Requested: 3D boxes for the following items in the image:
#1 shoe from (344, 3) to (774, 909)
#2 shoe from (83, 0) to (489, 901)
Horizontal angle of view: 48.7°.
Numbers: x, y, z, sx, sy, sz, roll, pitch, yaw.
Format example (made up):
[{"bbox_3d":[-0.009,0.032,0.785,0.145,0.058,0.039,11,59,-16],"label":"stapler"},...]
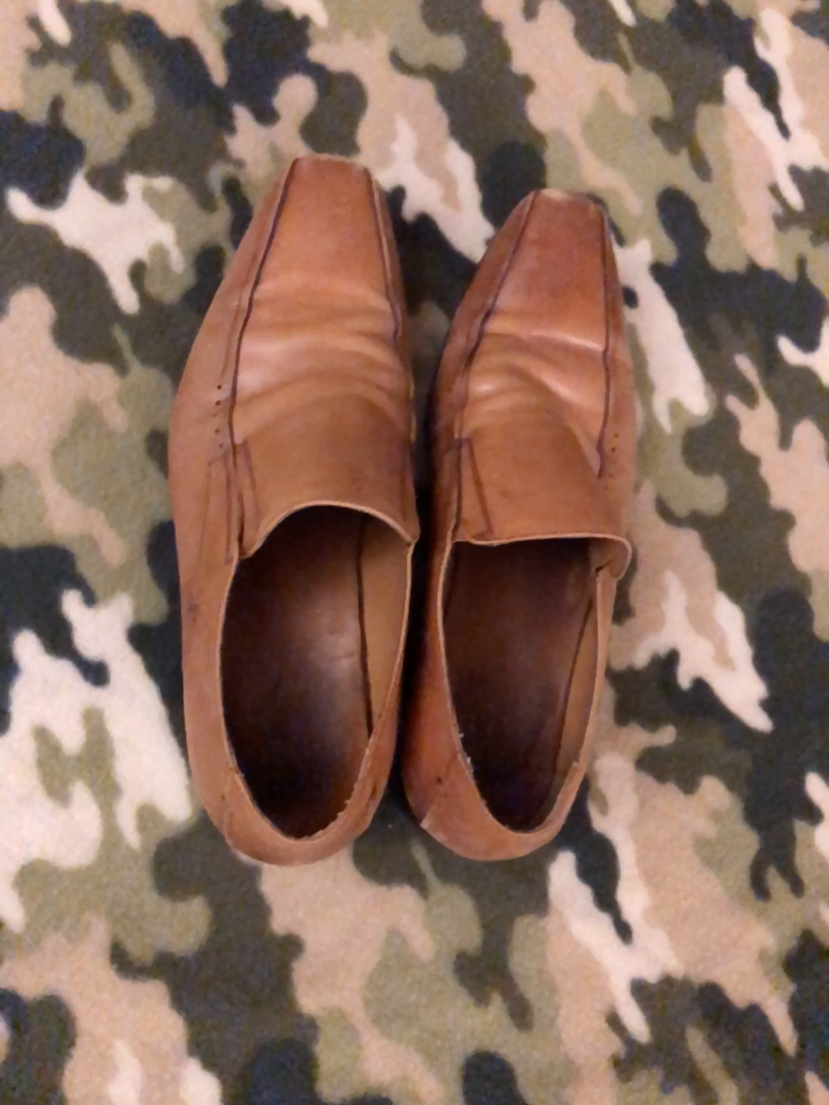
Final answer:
[{"bbox_3d":[0.058,-0.036,0.385,0.110,0.120,0.320,11,77,-10],"label":"shoe"},{"bbox_3d":[-0.045,-0.044,0.359,0.110,0.120,0.320,5,78,-11],"label":"shoe"}]
